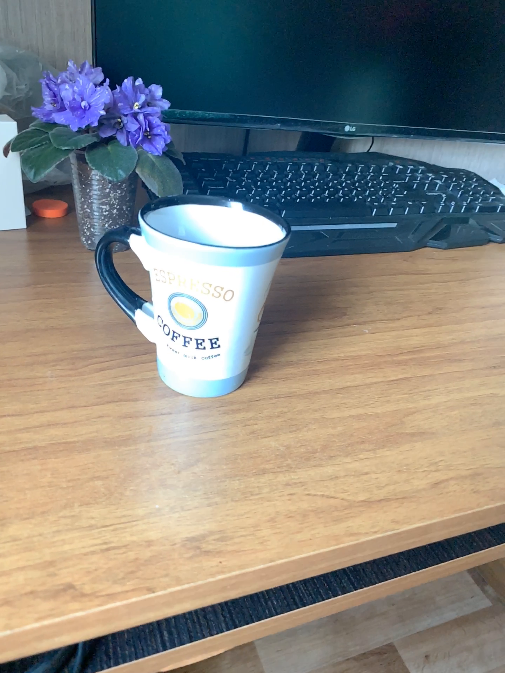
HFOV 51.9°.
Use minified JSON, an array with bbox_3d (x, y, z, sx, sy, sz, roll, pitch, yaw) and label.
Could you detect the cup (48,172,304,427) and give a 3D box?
[{"bbox_3d":[-0.041,-0.025,0.290,0.110,0.100,0.070,15,31,15],"label":"cup"}]
